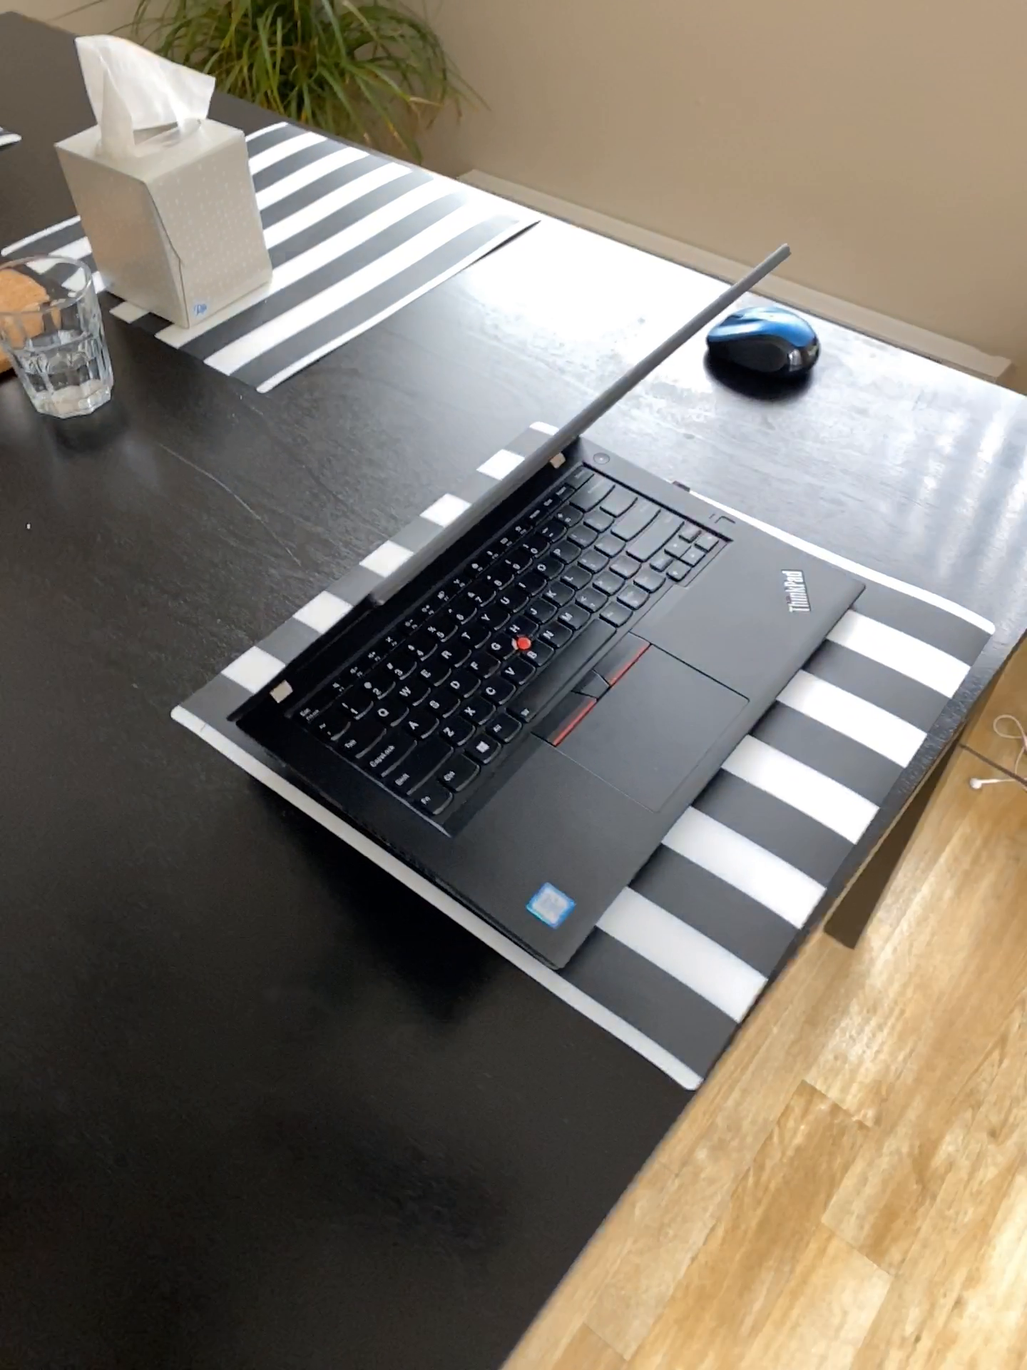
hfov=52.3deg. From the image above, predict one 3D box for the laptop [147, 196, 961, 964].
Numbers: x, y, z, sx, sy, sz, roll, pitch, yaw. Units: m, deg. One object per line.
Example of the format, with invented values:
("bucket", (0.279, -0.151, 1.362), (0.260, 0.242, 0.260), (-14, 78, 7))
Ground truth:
("laptop", (0.035, -0.076, 0.542), (0.220, 0.175, 0.321), (31, 56, 24))
